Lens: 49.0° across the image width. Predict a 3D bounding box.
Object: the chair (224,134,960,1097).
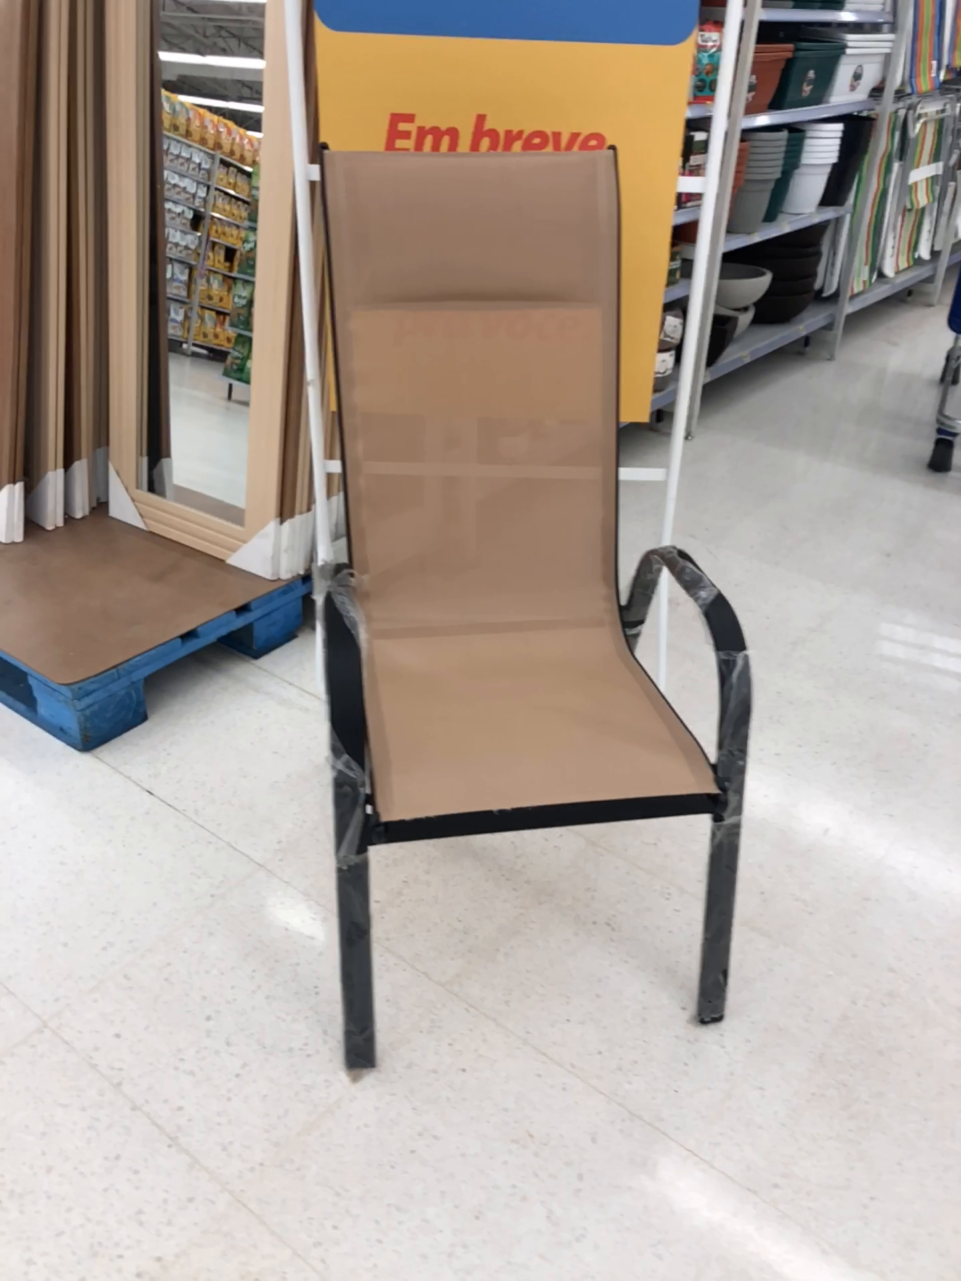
[{"bbox_3d":[0.049,-0.071,1.360,0.620,0.973,0.705,-3,32,-9],"label":"chair"}]
